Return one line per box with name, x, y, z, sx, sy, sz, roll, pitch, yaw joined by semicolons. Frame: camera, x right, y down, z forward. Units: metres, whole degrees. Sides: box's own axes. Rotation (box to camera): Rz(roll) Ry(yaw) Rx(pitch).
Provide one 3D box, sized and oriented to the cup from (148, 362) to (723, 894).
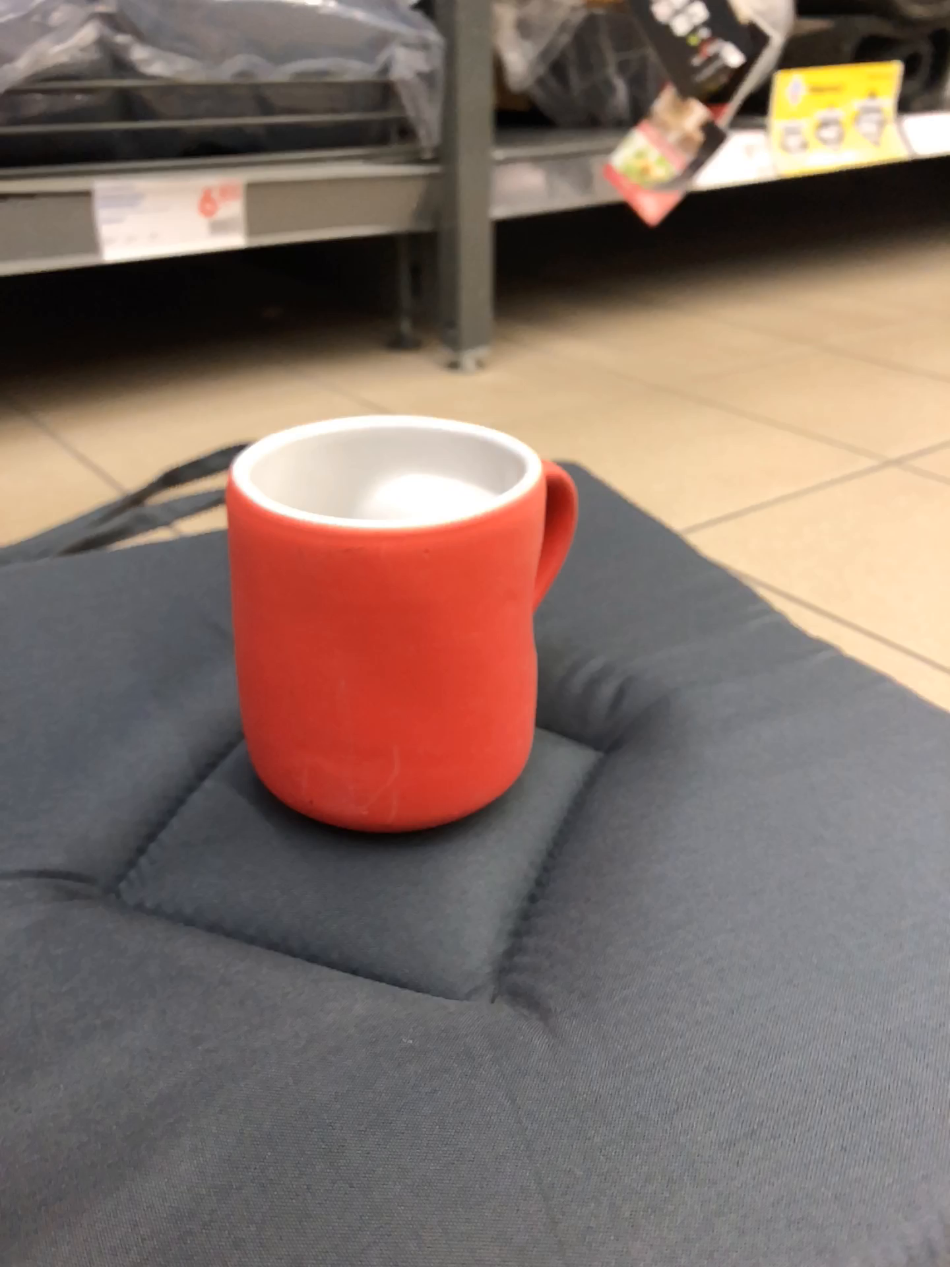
cup;-0.009;-0.012;0.299;0.121;0.089;0.090;-22;36;-34
